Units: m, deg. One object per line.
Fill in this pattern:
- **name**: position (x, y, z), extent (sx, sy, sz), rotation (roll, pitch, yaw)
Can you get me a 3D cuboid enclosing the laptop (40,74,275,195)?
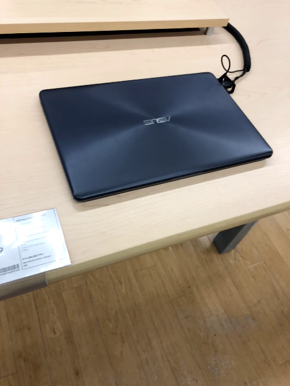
- **laptop**: position (0.022, -0.123, 0.555), extent (0.346, 0.002, 0.229), rotation (-14, 58, -21)
